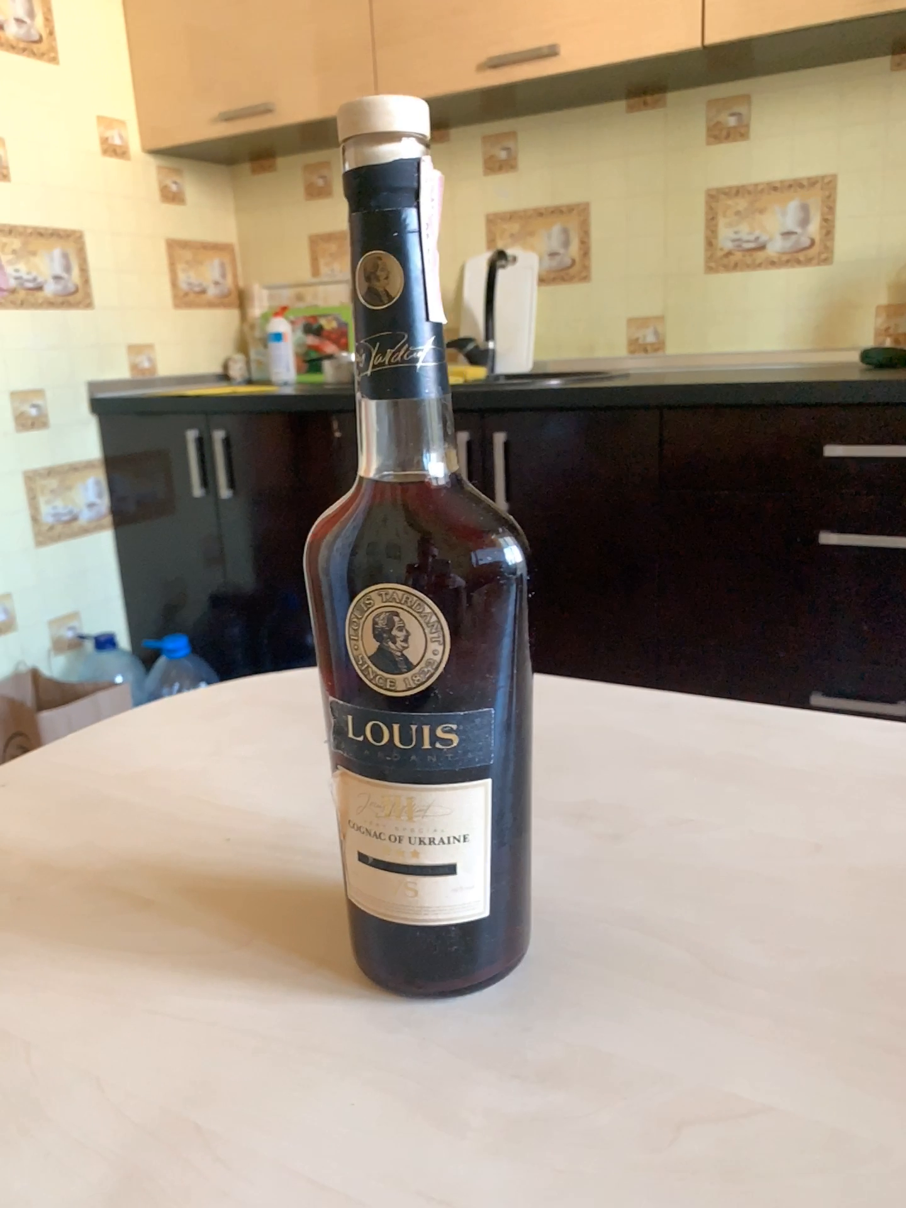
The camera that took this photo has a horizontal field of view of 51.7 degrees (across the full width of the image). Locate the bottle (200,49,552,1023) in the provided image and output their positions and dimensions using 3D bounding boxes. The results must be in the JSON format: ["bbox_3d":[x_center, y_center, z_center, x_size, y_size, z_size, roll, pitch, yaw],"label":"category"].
[{"bbox_3d":[-0.014,-0.012,0.319,0.080,0.289,0.080,-3,15,1],"label":"bottle"}]
